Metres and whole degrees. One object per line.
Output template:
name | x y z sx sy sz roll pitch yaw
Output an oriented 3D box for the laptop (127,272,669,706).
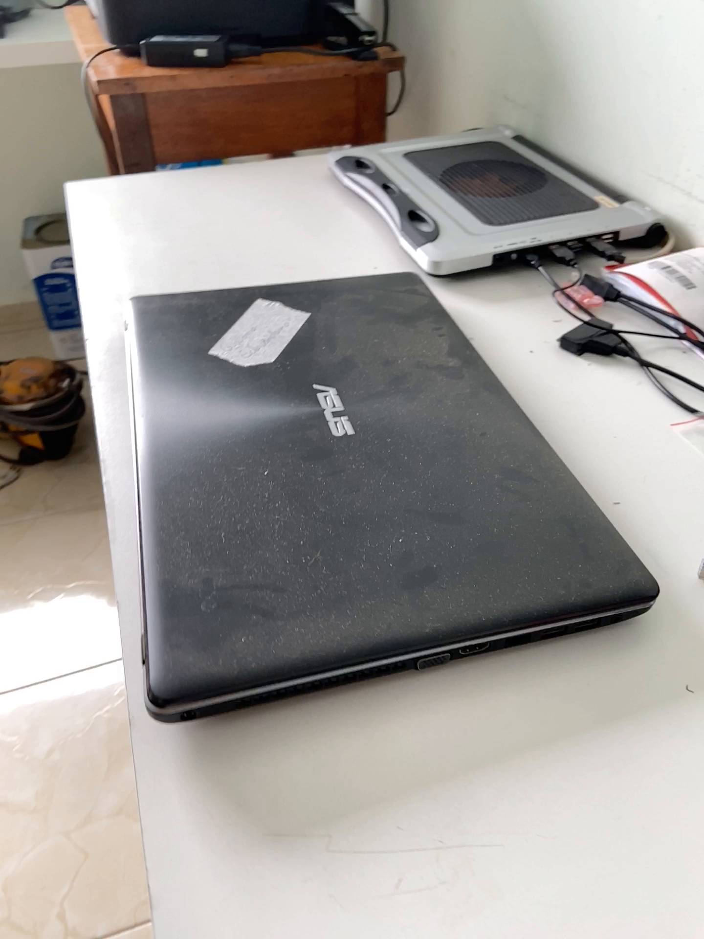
laptop | -0.014 -0.036 0.483 0.250 0.007 0.387 -9 41 -12
